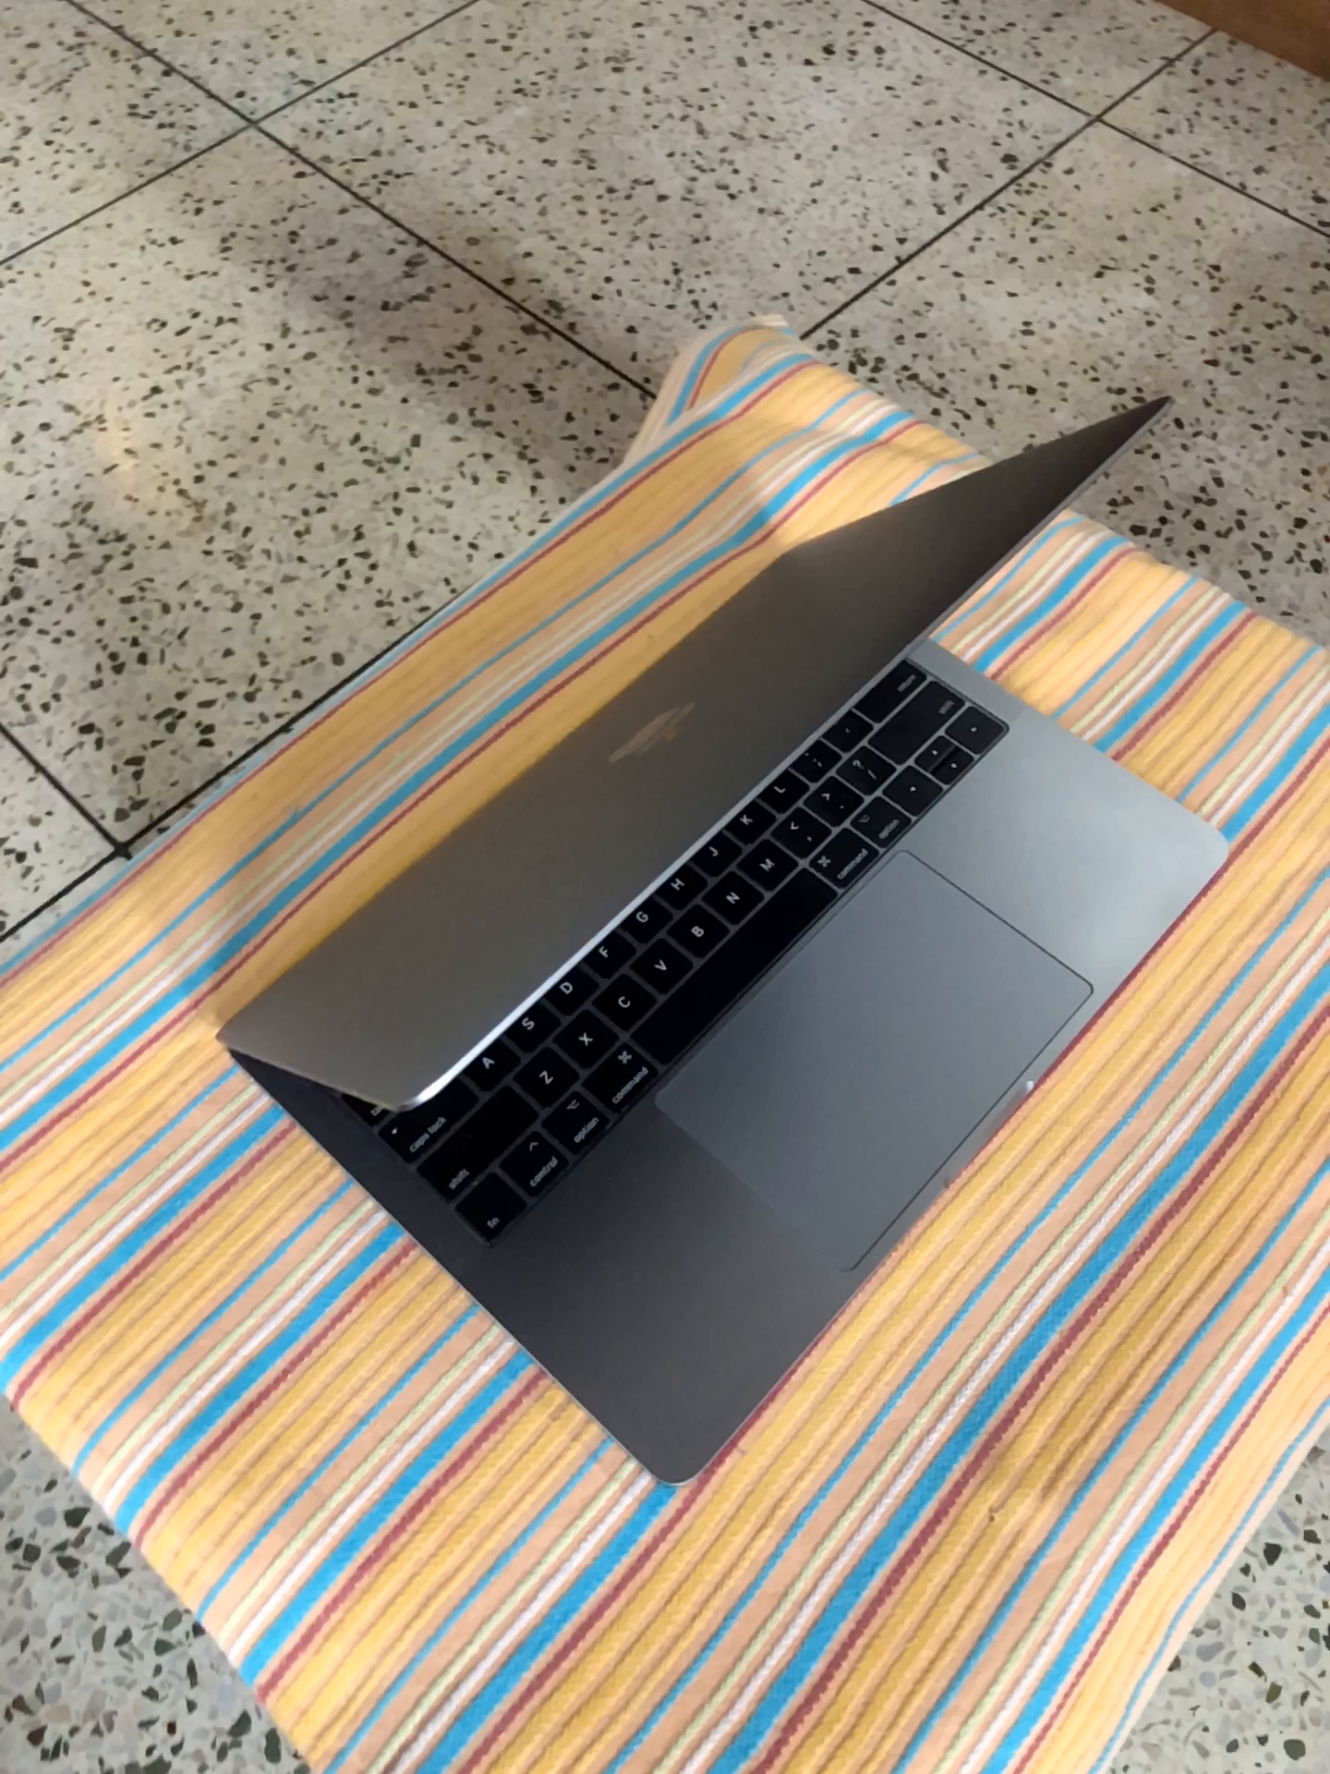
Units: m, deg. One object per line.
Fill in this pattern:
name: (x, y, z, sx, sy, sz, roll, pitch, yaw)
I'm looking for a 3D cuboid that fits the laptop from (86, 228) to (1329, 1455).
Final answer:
laptop: (0.030, -0.023, 0.457, 0.203, 0.160, 0.295, 39, 67, 21)
